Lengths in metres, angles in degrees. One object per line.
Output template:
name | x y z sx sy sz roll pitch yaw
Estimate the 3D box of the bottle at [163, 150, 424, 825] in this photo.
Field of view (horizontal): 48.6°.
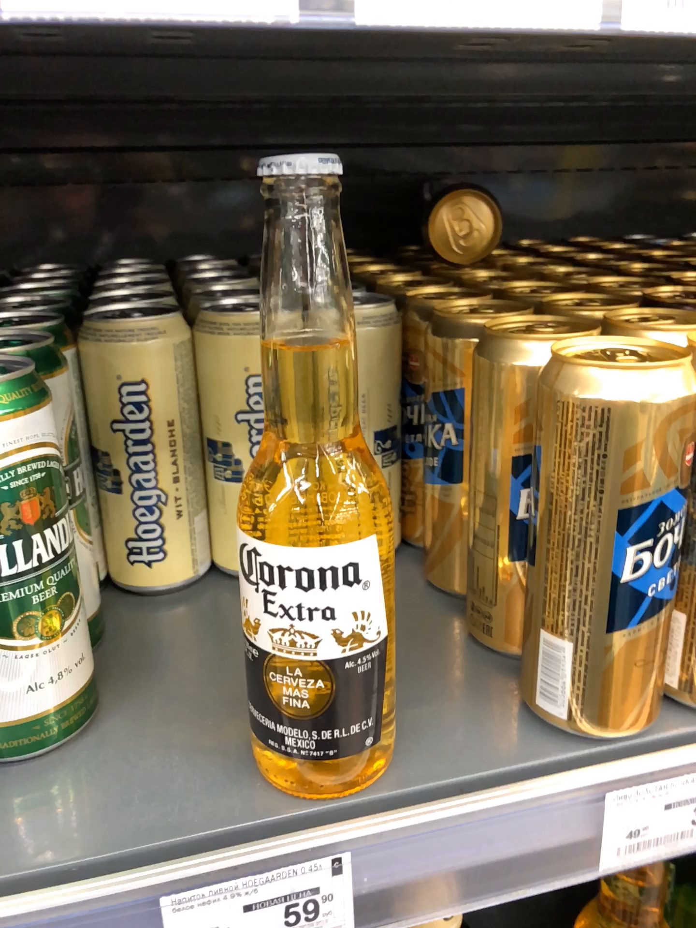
bottle | -0.011 0.013 0.286 0.070 0.237 0.060 3 20 11
